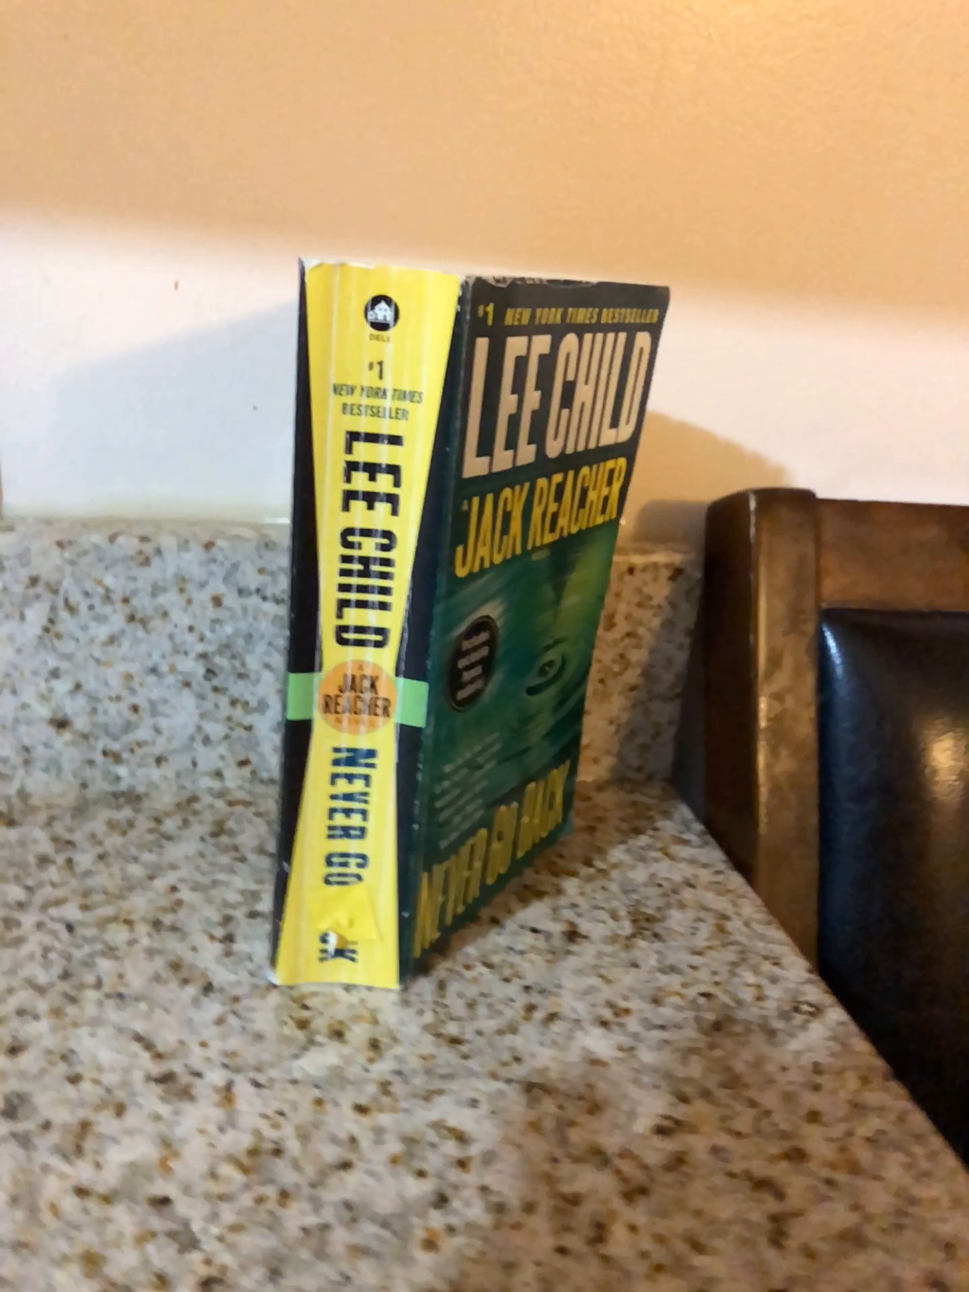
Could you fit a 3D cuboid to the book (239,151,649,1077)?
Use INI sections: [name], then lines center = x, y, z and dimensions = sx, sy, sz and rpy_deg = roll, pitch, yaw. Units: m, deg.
[book]
center = -0.006, -0.018, 0.327
dimensions = 0.050, 0.219, 0.161
rpy_deg = 12, 20, 14
